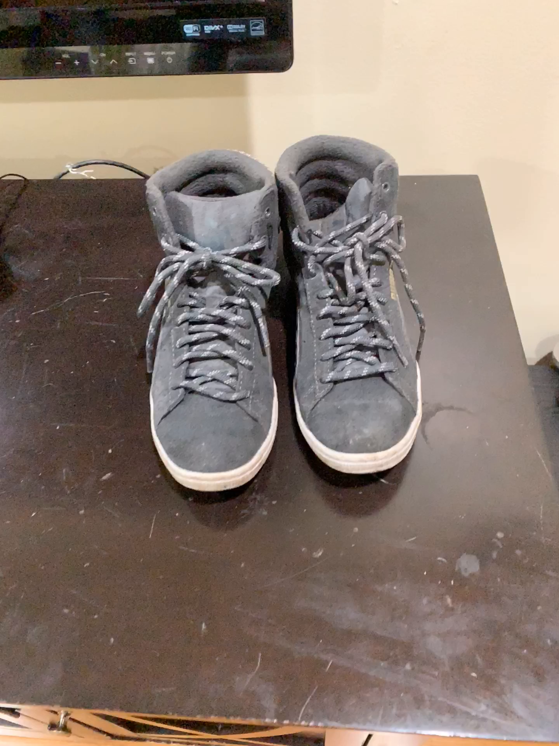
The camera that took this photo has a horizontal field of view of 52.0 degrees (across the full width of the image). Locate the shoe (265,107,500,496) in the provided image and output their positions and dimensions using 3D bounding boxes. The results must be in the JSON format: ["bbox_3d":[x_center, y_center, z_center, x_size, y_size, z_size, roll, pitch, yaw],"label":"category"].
[{"bbox_3d":[0.051,-0.061,0.407,0.097,0.124,0.254,-6,52,-1],"label":"shoe"}]

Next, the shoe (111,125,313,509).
[{"bbox_3d":[-0.043,-0.053,0.406,0.100,0.107,0.262,-6,52,-1],"label":"shoe"}]
